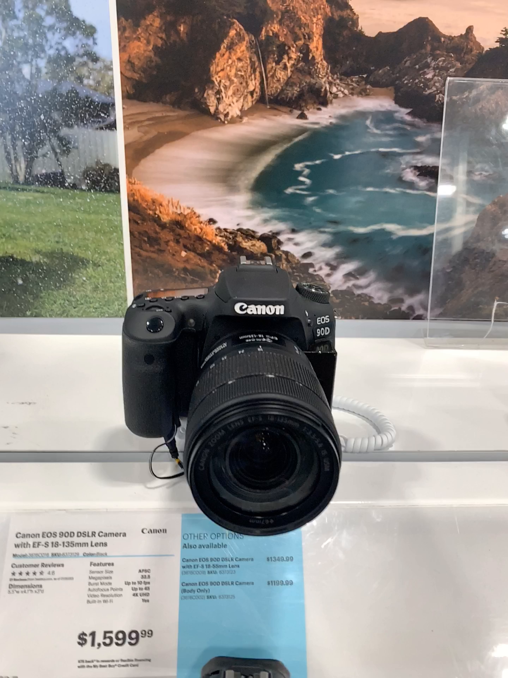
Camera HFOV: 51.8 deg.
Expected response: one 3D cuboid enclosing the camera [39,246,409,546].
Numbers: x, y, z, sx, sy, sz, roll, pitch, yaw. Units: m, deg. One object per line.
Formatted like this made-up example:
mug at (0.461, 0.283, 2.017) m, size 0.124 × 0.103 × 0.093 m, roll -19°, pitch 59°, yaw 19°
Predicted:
camera at (-0.016, 0.015, 0.307) m, size 0.148 × 0.104 × 0.171 m, roll 0°, pitch 21°, yaw -3°
